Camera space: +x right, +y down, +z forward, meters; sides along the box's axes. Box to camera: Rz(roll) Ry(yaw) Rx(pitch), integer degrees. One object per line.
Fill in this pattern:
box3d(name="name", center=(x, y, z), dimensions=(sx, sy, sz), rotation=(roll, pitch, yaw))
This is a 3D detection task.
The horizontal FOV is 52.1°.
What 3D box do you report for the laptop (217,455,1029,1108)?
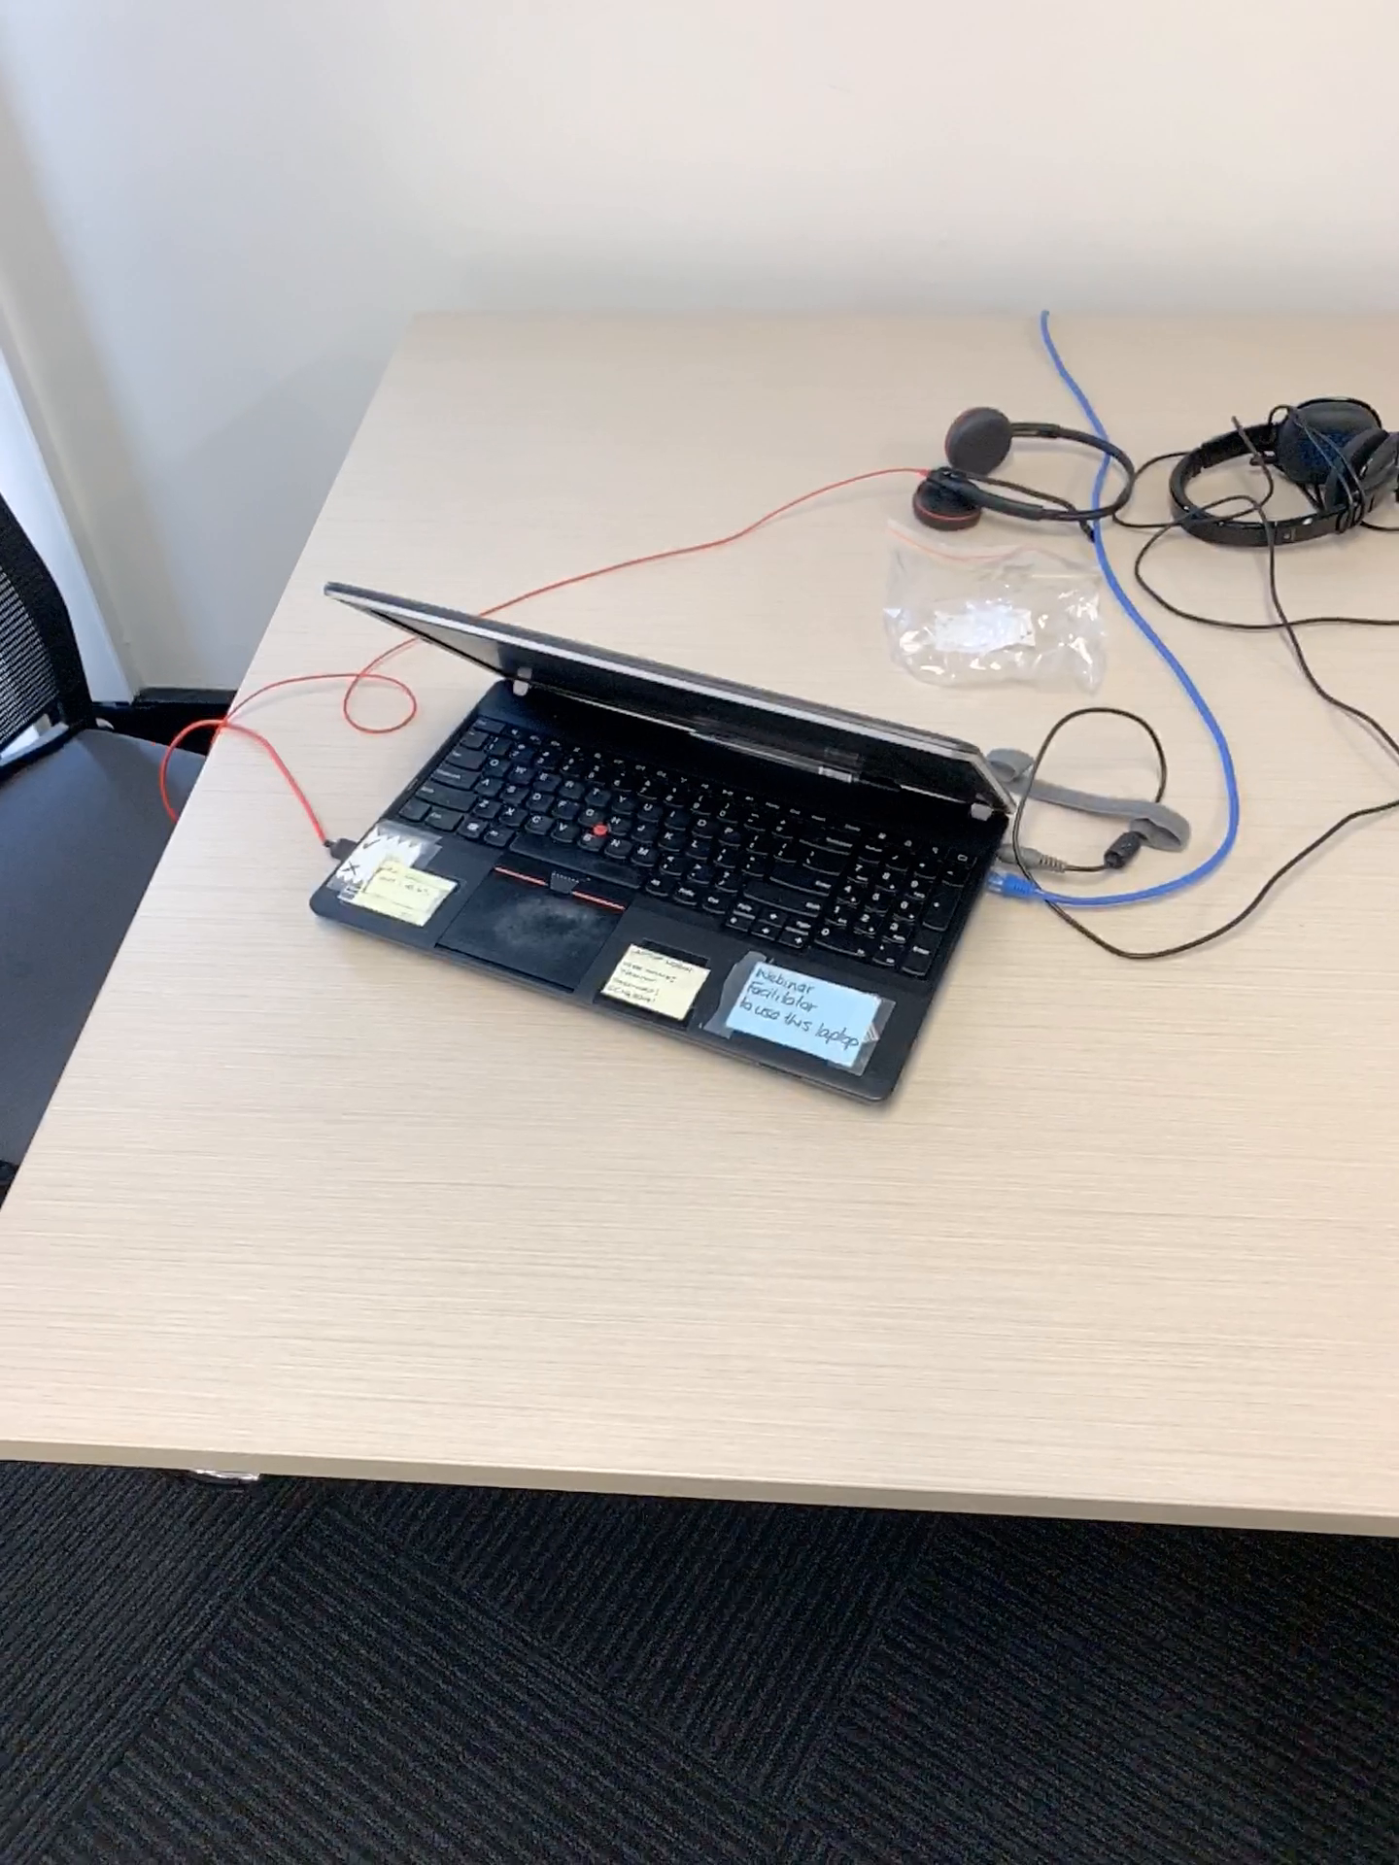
box3d(name="laptop", center=(-0.026, -0.094, 0.723), dimensions=(0.326, 0.157, 0.227), rotation=(17, 46, 19))
